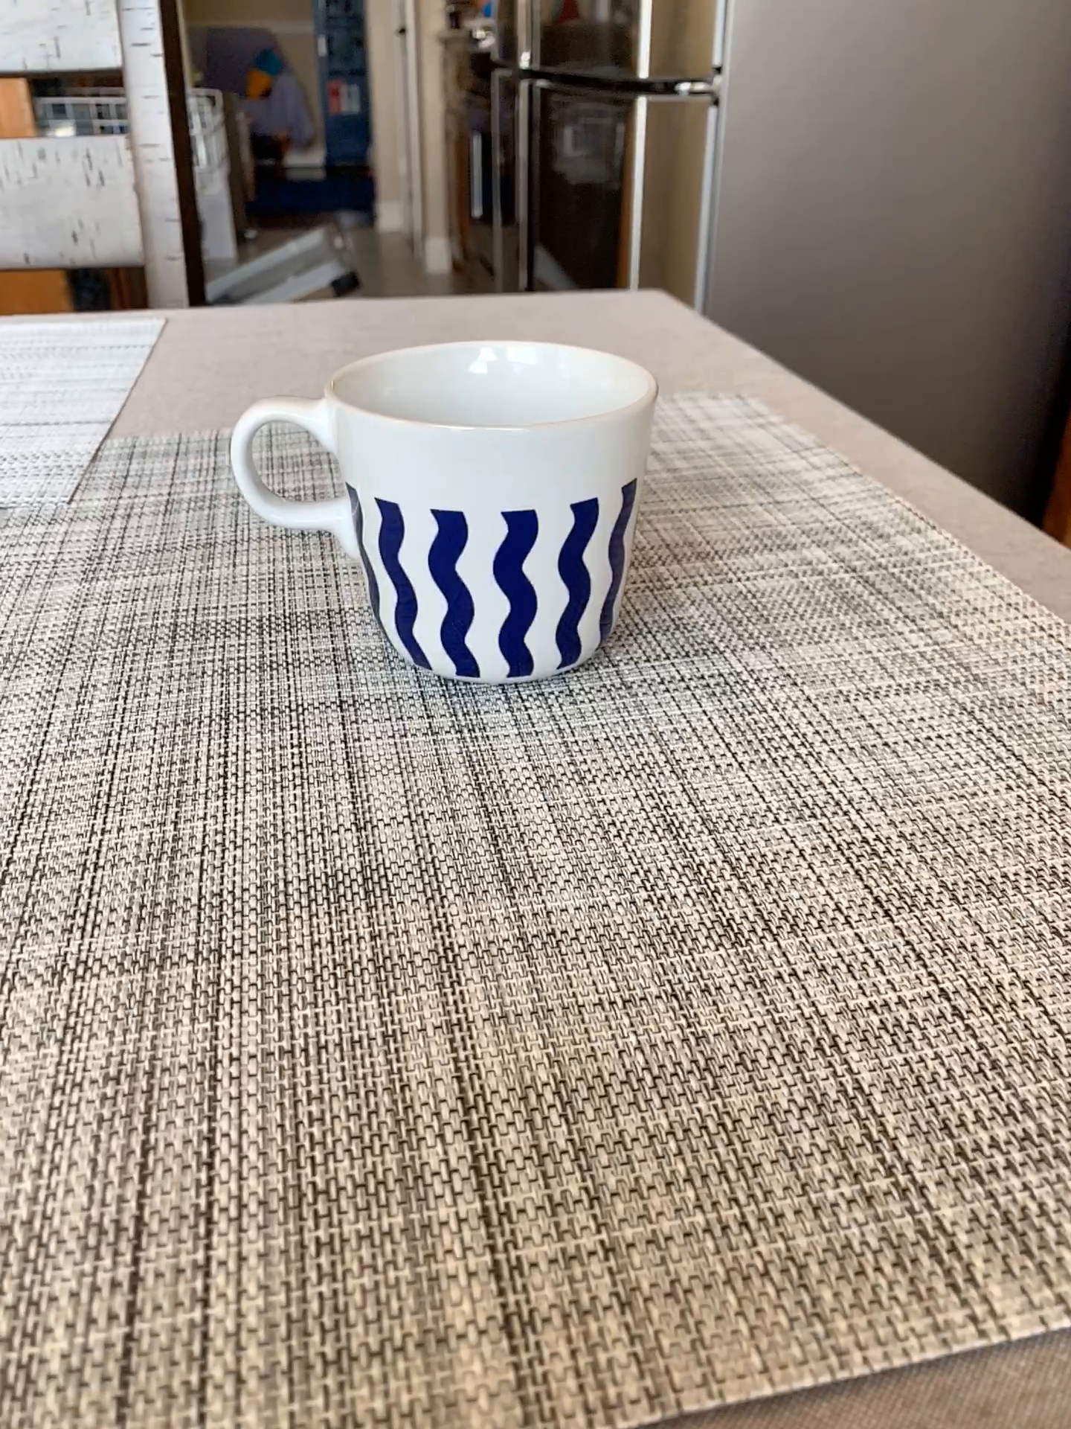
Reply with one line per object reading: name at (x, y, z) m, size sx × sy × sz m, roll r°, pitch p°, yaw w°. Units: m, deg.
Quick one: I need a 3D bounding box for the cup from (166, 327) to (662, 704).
cup at (-0.025, -0.058, 0.305) m, size 0.112 × 0.072 × 0.087 m, roll 2°, pitch 31°, yaw 3°
